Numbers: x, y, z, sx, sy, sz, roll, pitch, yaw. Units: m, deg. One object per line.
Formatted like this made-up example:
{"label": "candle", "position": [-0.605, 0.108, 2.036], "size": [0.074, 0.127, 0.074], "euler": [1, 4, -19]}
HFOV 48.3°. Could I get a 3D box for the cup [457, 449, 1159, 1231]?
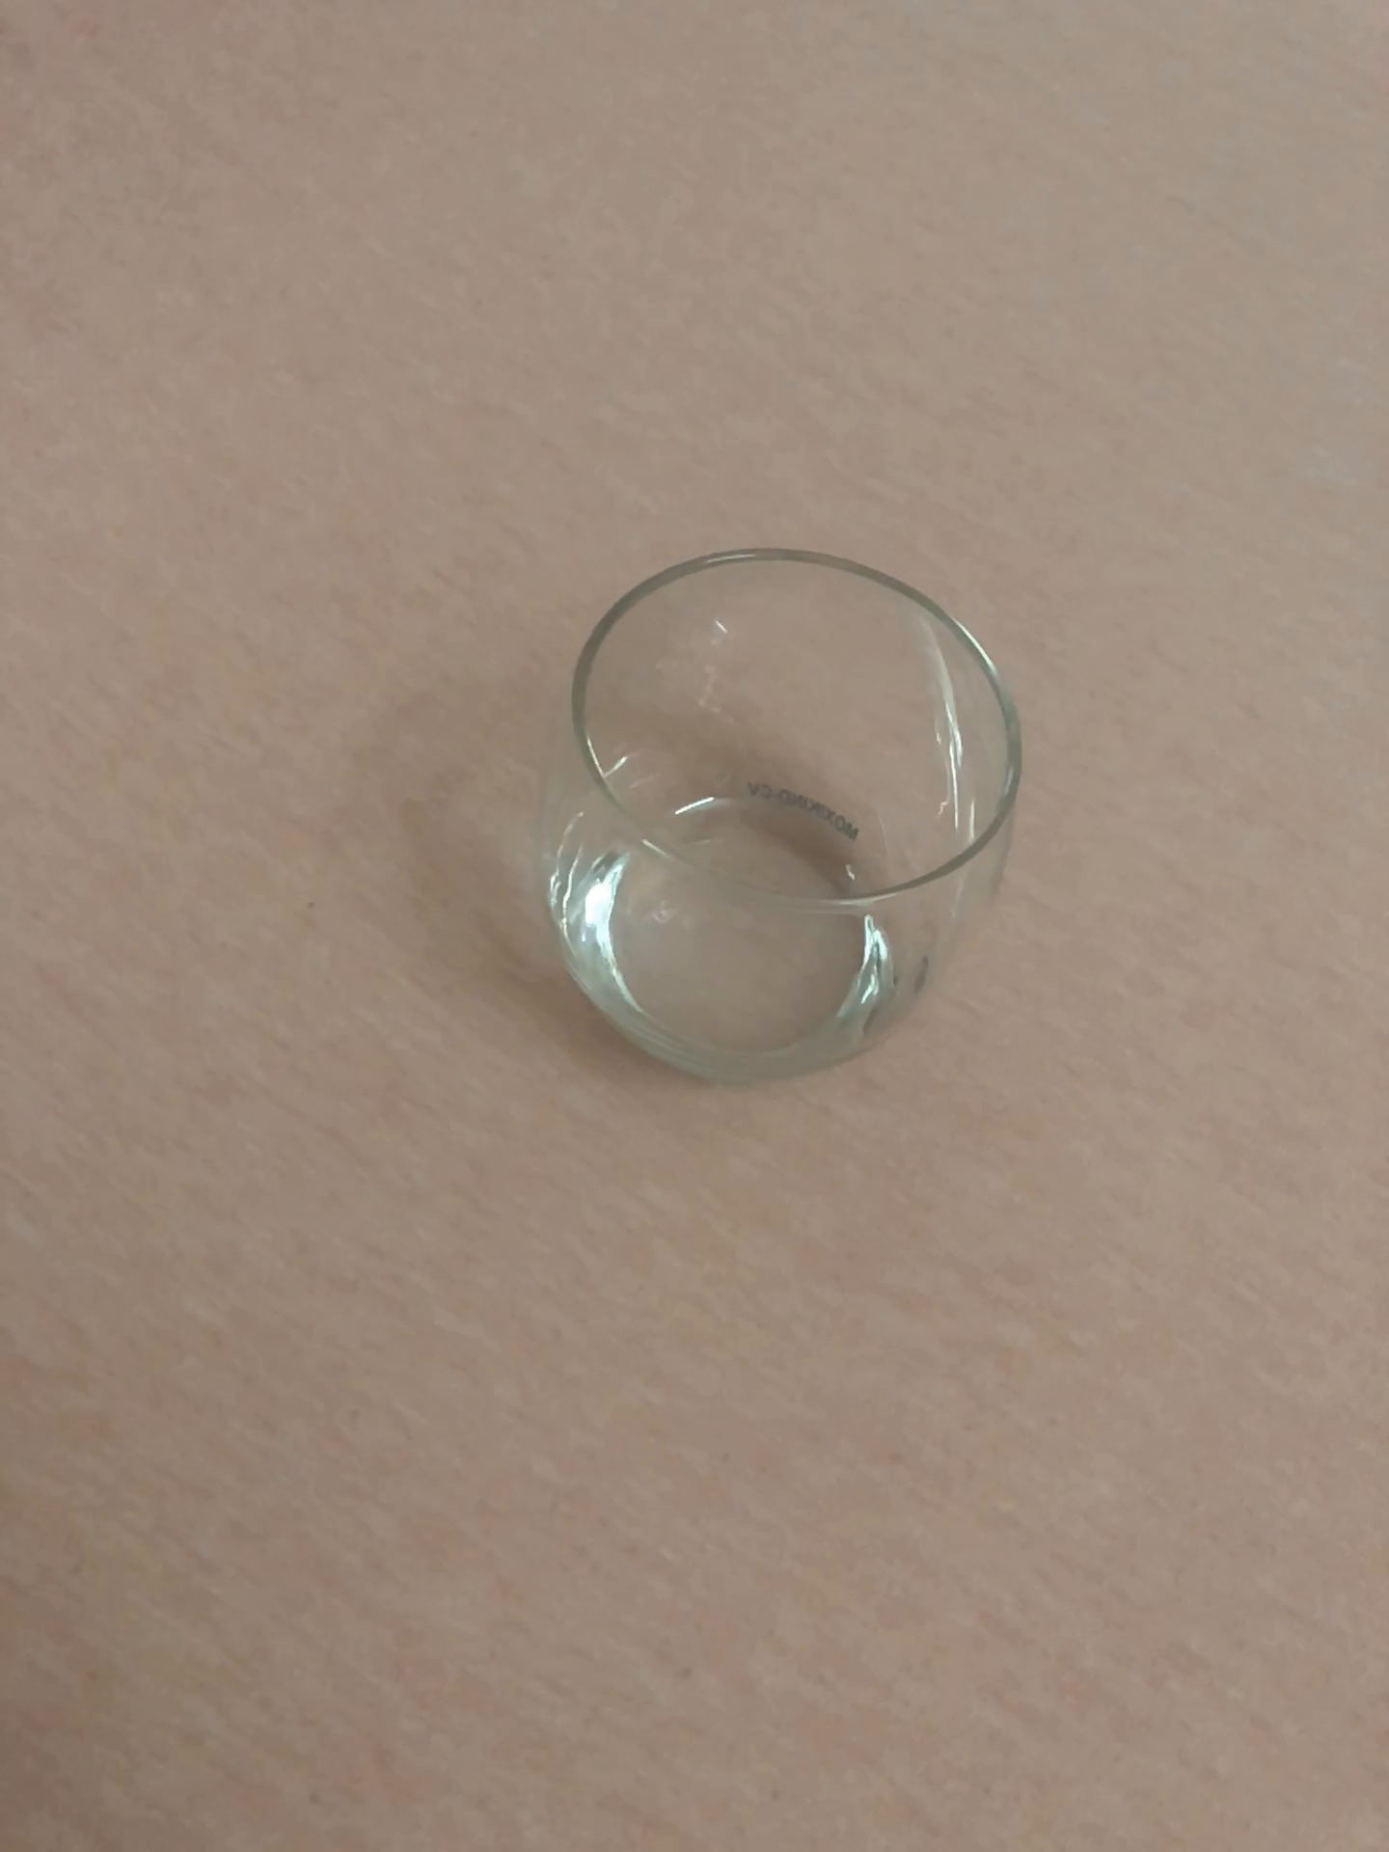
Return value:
{"label": "cup", "position": [0.015, -0.016, 0.319], "size": [0.090, 0.100, 0.090], "euler": [4, 58, -6]}
